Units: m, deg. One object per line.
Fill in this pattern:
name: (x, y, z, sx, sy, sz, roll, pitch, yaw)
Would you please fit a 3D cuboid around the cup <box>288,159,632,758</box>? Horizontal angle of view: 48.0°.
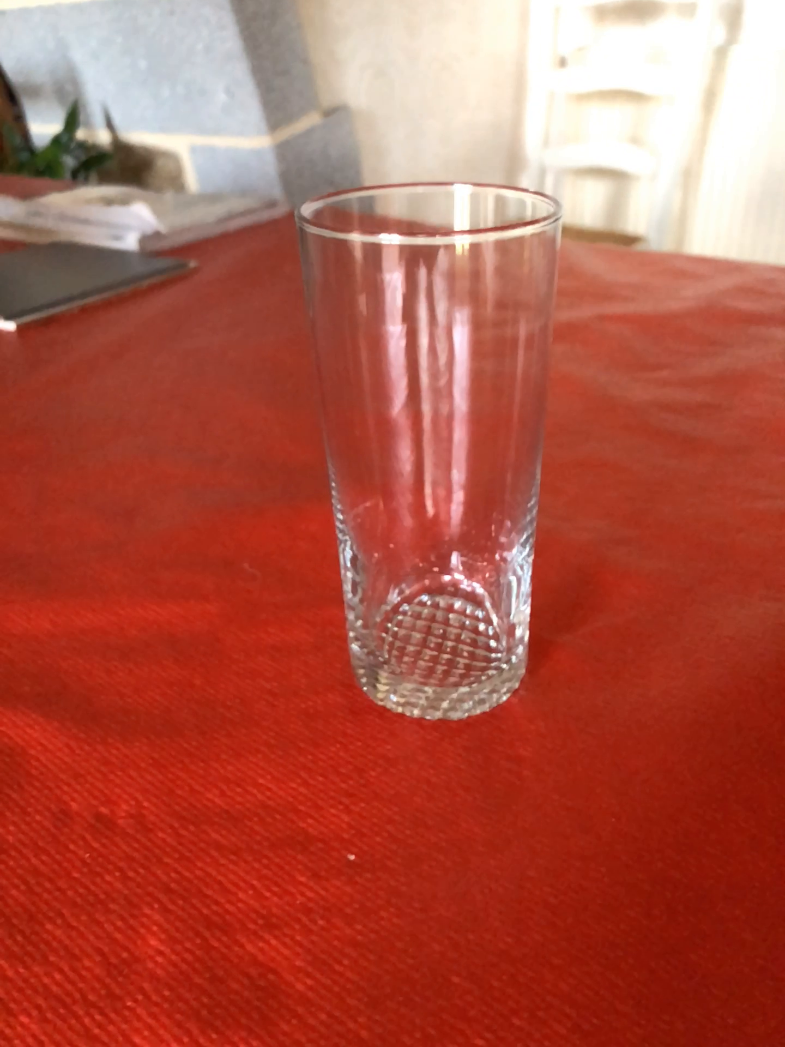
cup: (0.019, -0.016, 0.247, 0.070, 0.149, 0.070, -2, 29, 1)
